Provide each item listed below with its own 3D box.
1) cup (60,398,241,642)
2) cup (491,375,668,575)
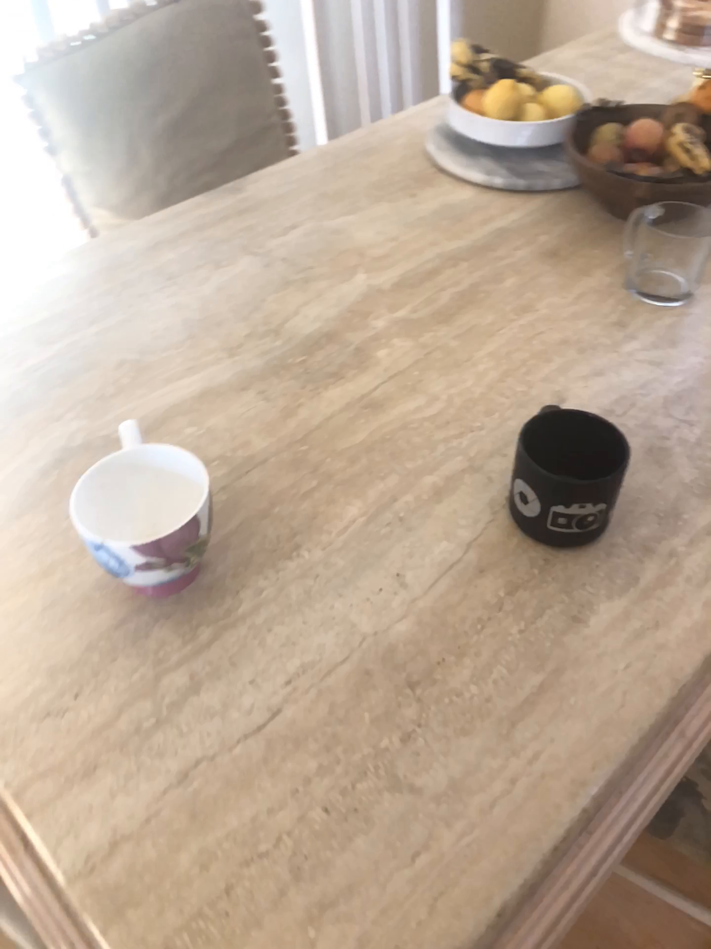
[{"bbox_3d":[-0.170,0.032,0.642,0.110,0.089,0.161,-13,46,-11],"label":"cup"},{"bbox_3d":[0.189,-0.002,0.691,0.100,0.089,0.151,-4,45,-2],"label":"cup"}]
